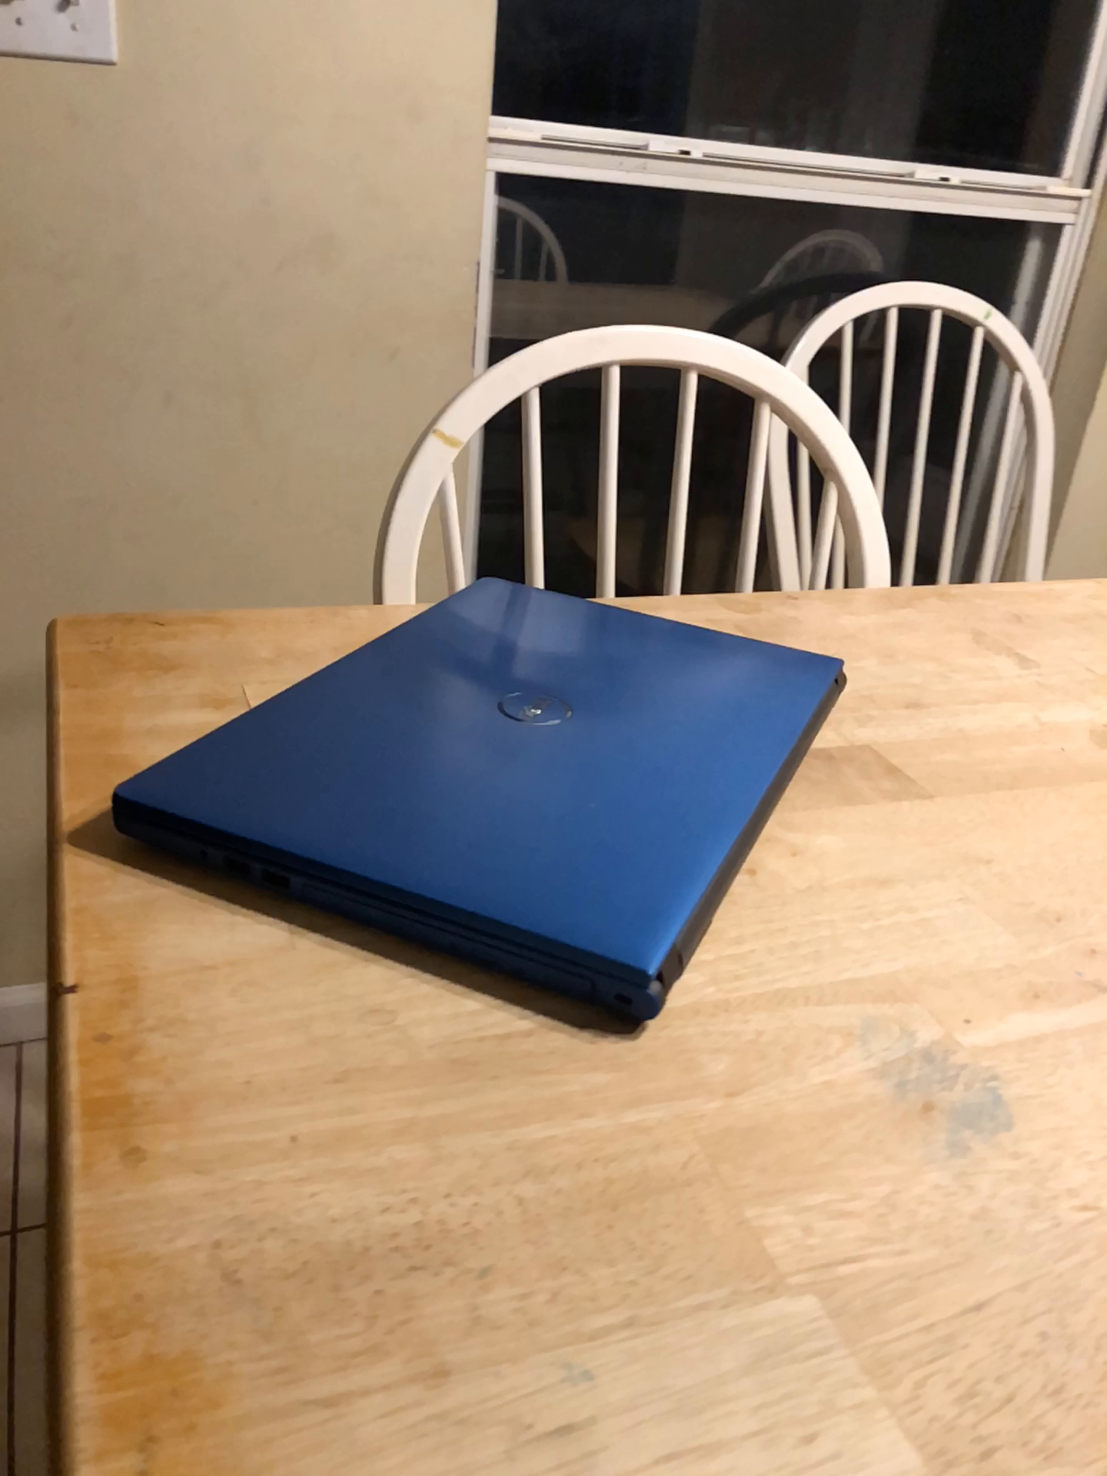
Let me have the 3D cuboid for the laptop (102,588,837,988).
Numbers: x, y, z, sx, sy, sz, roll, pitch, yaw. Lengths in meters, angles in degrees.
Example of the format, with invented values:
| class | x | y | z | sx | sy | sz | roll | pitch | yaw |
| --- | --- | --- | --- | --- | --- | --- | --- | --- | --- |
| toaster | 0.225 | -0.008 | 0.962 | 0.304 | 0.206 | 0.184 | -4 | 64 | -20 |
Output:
| class | x | y | z | sx | sy | sz | roll | pitch | yaw |
| --- | --- | --- | --- | --- | --- | --- | --- | --- | --- |
| laptop | -0.009 | -0.006 | 0.671 | 0.259 | 0.001 | 0.390 | 15 | 27 | 19 |
